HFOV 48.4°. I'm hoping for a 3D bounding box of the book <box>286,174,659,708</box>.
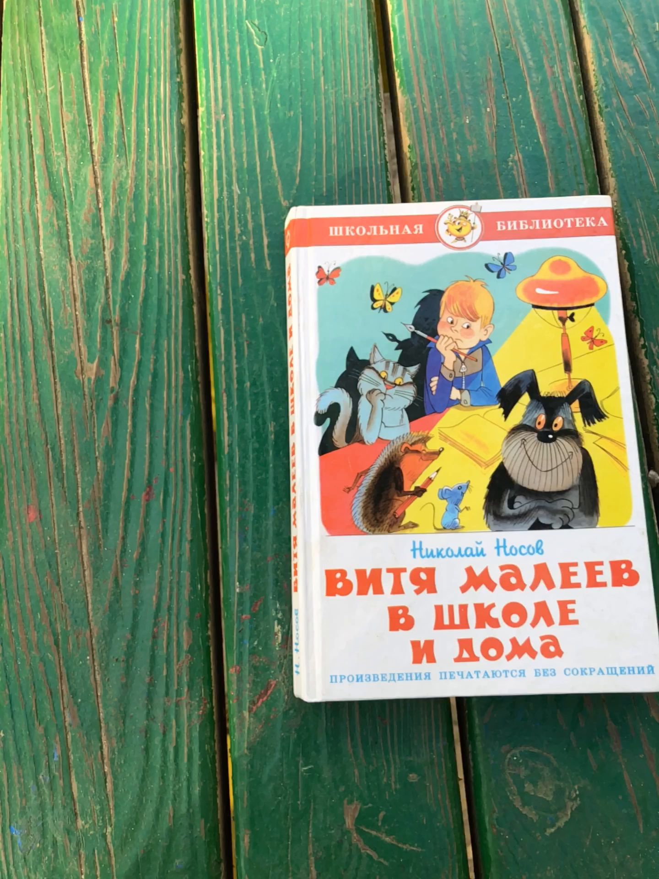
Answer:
[{"bbox_3d":[0.057,-0.005,0.300,0.145,0.020,0.212,-2,78,1],"label":"book"}]
